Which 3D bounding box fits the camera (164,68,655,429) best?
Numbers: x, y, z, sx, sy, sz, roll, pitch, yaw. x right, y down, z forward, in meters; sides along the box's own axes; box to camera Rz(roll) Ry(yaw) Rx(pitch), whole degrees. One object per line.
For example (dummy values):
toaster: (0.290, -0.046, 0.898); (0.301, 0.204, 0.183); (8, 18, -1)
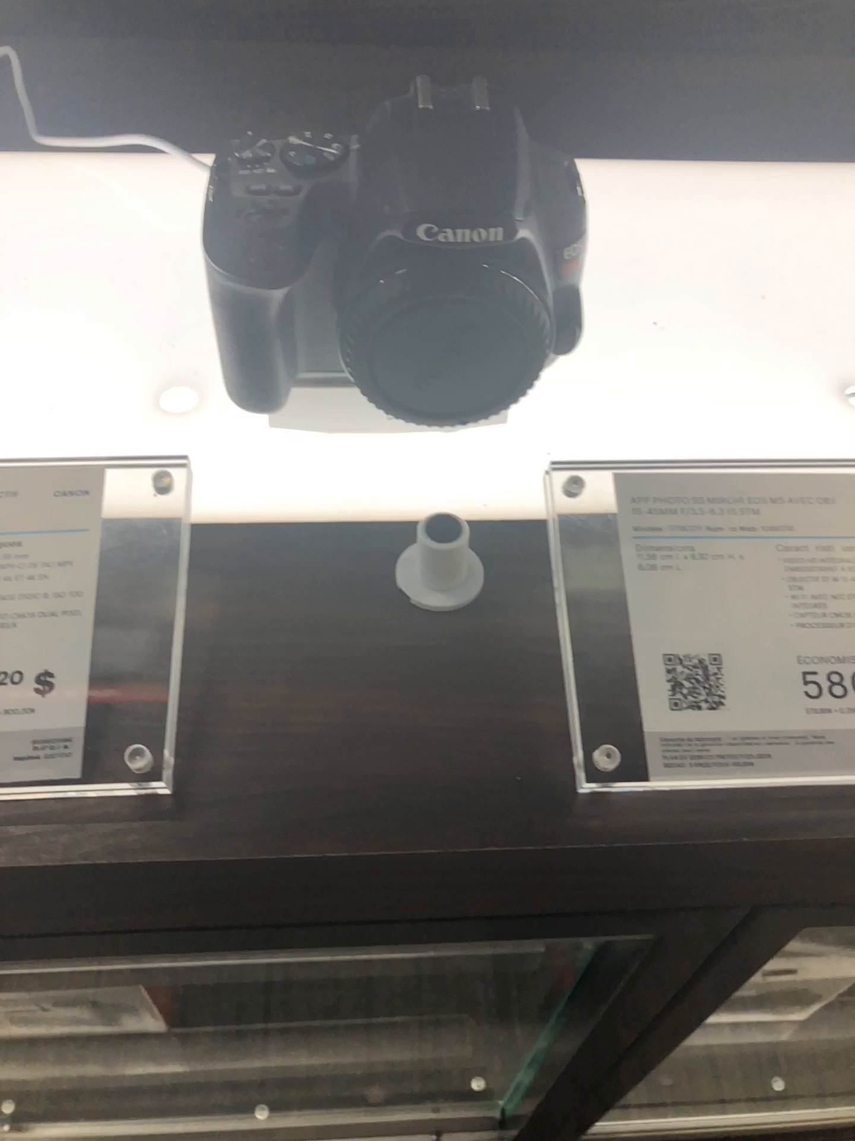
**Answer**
camera: (-0.007, -0.097, 0.291); (0.123, 0.071, 0.081); (-1, 51, -4)
